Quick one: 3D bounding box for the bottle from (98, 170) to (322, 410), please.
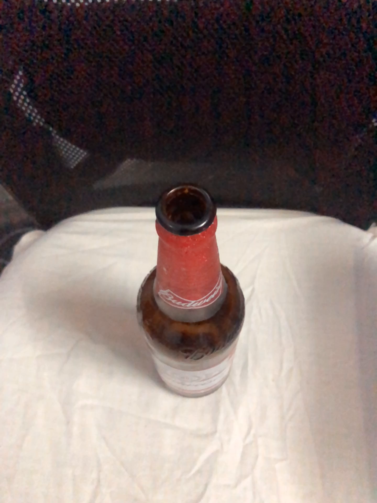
[{"bbox_3d":[0.006,0.056,0.287,0.080,0.269,0.070,0,64,0],"label":"bottle"}]
